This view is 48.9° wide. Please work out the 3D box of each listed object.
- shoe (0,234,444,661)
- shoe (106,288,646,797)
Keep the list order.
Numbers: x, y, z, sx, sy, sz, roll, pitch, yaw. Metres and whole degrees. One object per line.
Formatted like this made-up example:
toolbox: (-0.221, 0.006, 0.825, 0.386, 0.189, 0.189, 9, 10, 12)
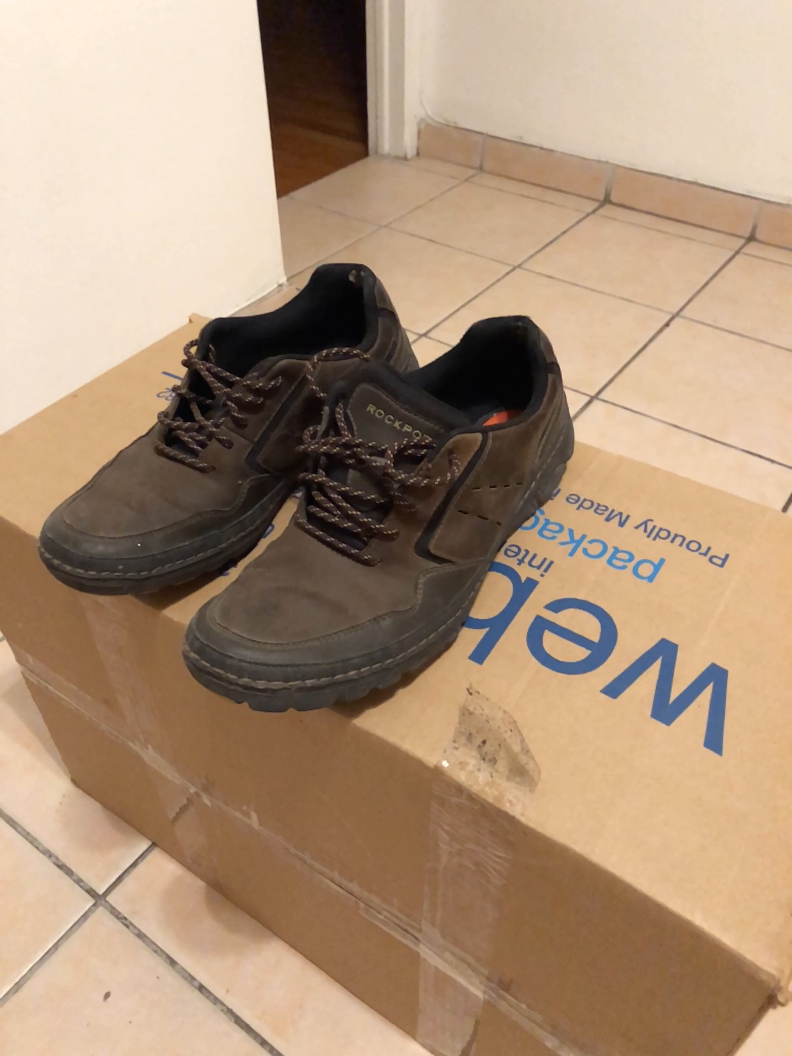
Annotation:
shoe: (-0.101, -0.066, 0.534, 0.111, 0.109, 0.281, 29, 50, 29)
shoe: (0.008, -0.014, 0.478, 0.111, 0.109, 0.291, 29, 49, 29)
